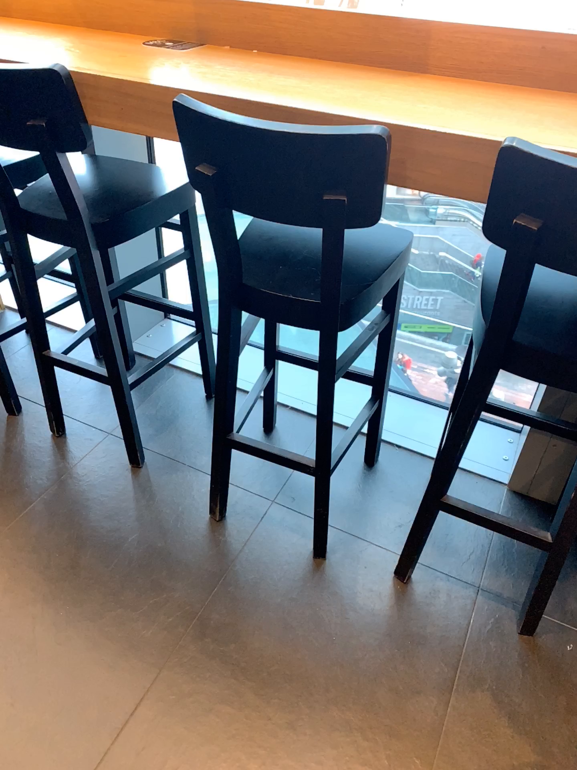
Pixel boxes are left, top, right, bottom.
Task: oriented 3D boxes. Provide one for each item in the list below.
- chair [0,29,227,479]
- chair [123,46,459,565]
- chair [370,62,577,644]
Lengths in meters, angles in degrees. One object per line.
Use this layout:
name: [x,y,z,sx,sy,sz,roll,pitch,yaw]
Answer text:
chair: [-0.473,-0.321,1.559,0.393,1.001,0.464,19,41,21]
chair: [0.020,-0.153,1.348,0.453,1.001,0.464,16,40,18]
chair: [0.495,-0.030,1.187,0.423,1.001,0.464,17,40,19]
